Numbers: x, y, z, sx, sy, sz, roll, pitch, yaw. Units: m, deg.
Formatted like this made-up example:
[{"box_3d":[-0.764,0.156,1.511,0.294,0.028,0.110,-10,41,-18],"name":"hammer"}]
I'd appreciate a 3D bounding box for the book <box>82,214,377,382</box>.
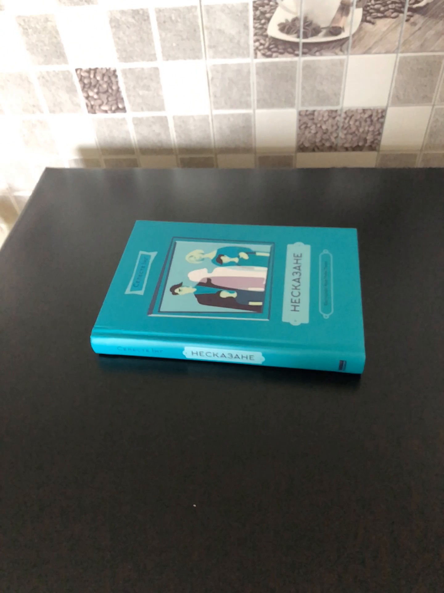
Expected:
[{"box_3d":[0.012,-0.008,0.424,0.220,0.030,0.152,3,49,8],"name":"book"}]
